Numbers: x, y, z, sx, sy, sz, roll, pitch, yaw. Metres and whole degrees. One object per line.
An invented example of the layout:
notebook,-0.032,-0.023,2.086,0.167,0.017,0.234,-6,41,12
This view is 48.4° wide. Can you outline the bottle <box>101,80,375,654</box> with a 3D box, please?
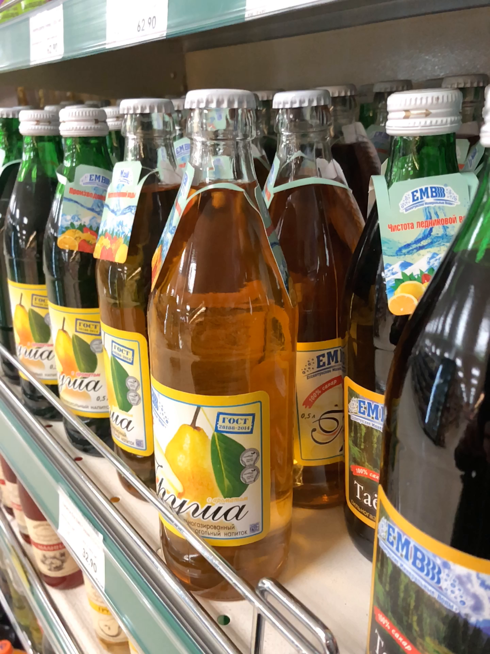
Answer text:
bottle,-0.001,0.017,0.252,0.070,0.234,0.080,-19,27,-37
